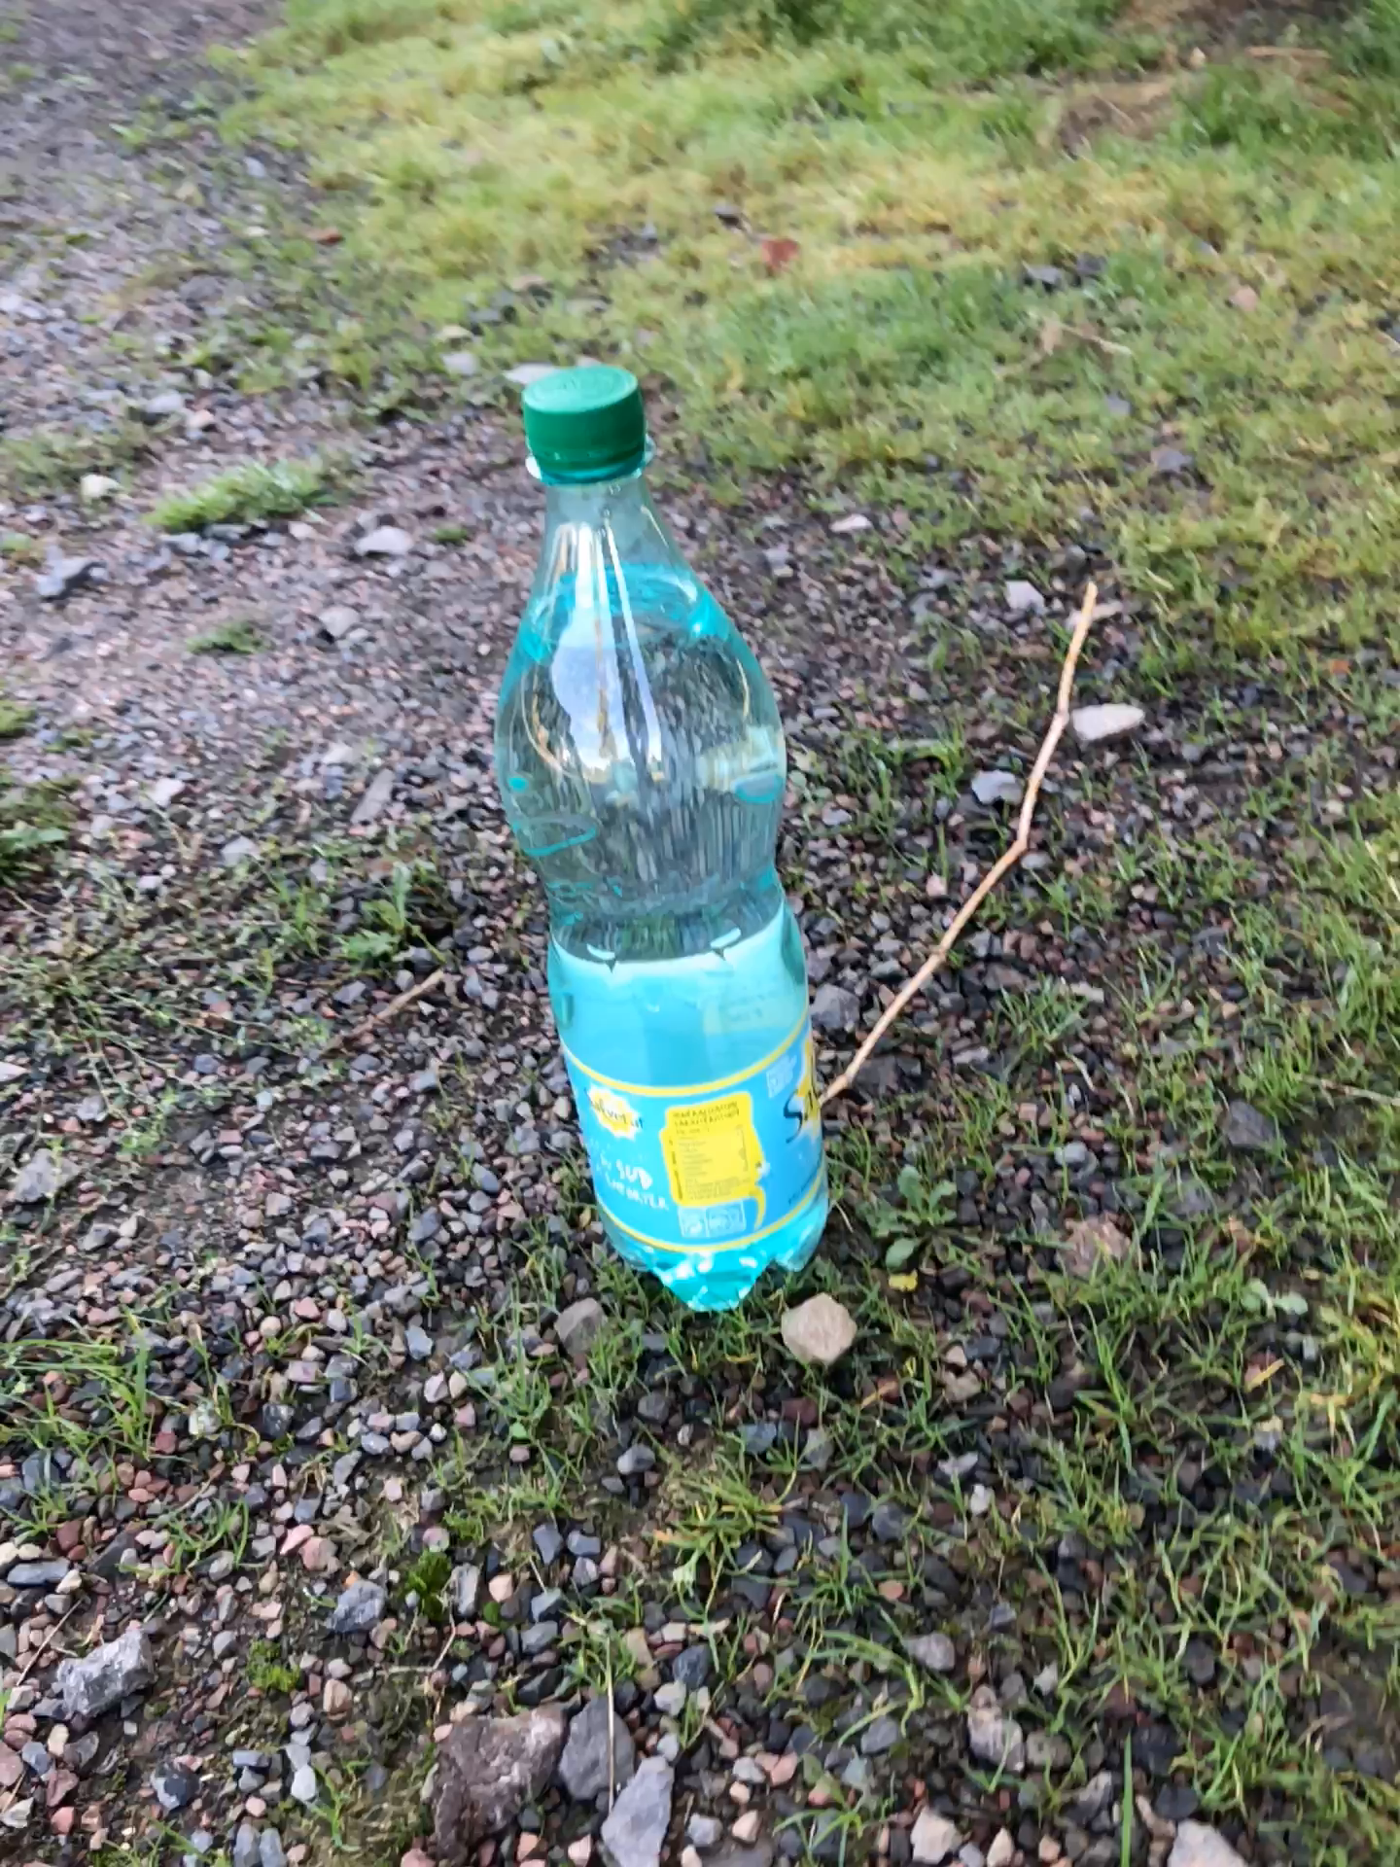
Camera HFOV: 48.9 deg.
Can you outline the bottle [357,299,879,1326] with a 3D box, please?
[{"bbox_3d":[-0.010,-0.018,0.466,0.100,0.298,0.091,-7,37,2],"label":"bottle"}]
